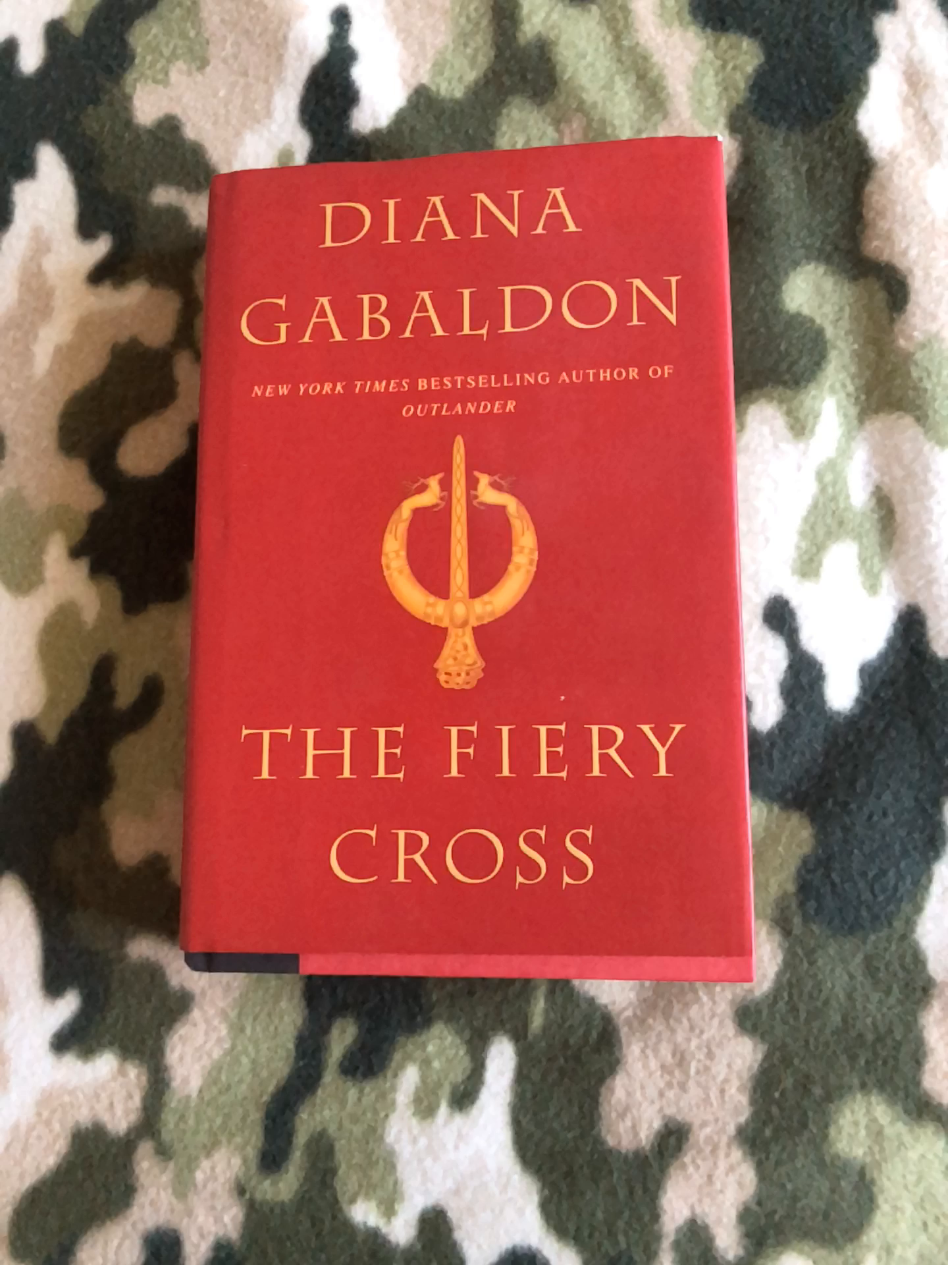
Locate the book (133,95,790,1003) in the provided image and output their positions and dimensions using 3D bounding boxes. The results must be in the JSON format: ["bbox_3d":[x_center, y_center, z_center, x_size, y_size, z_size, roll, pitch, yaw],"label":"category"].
[{"bbox_3d":[-0.003,-0.024,0.324,0.170,0.070,0.250,-1,81,5],"label":"book"}]
